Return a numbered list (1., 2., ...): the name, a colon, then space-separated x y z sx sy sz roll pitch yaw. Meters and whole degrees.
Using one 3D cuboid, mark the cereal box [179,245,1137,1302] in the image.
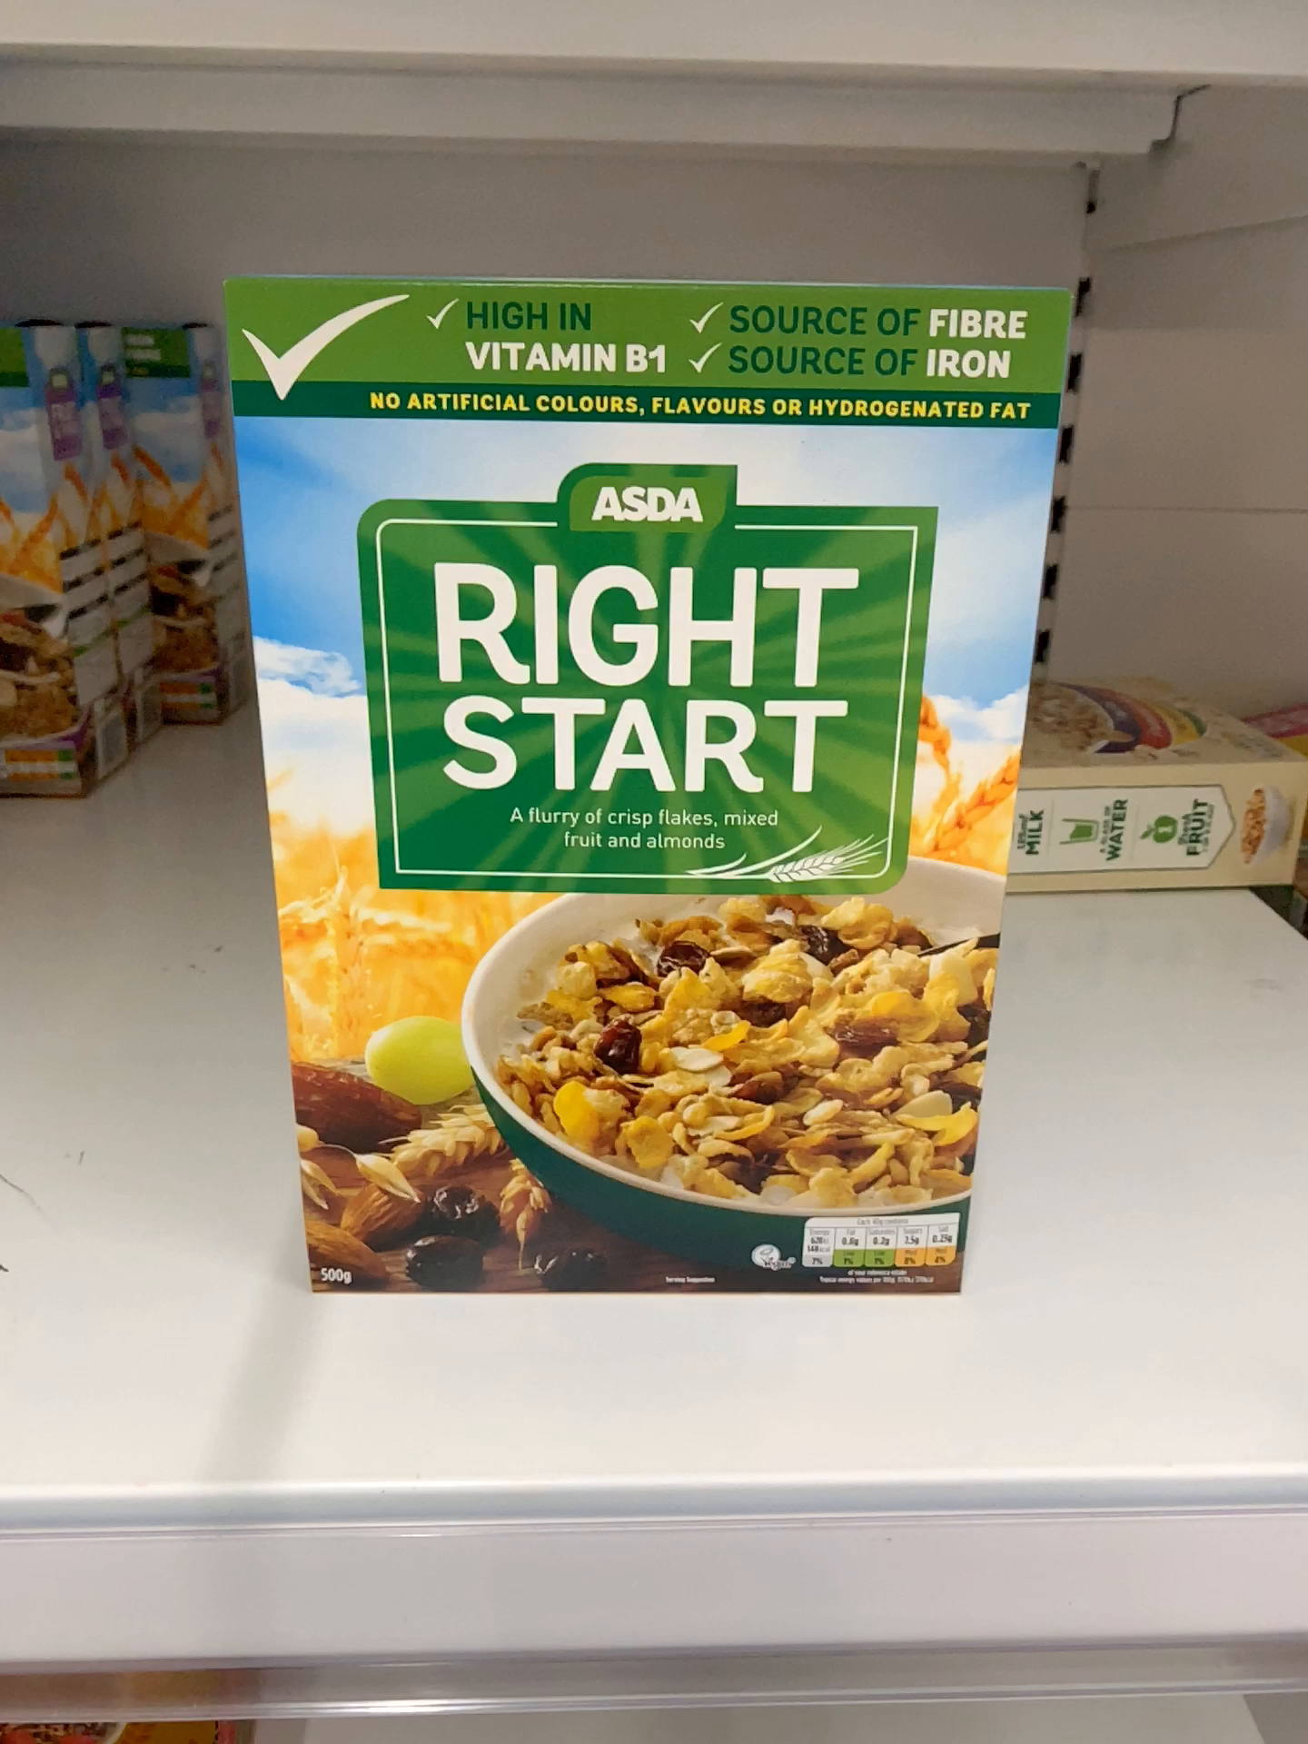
1. cereal box: -0.001 -0.018 0.363 0.200 0.268 0.071 0 21 -2
